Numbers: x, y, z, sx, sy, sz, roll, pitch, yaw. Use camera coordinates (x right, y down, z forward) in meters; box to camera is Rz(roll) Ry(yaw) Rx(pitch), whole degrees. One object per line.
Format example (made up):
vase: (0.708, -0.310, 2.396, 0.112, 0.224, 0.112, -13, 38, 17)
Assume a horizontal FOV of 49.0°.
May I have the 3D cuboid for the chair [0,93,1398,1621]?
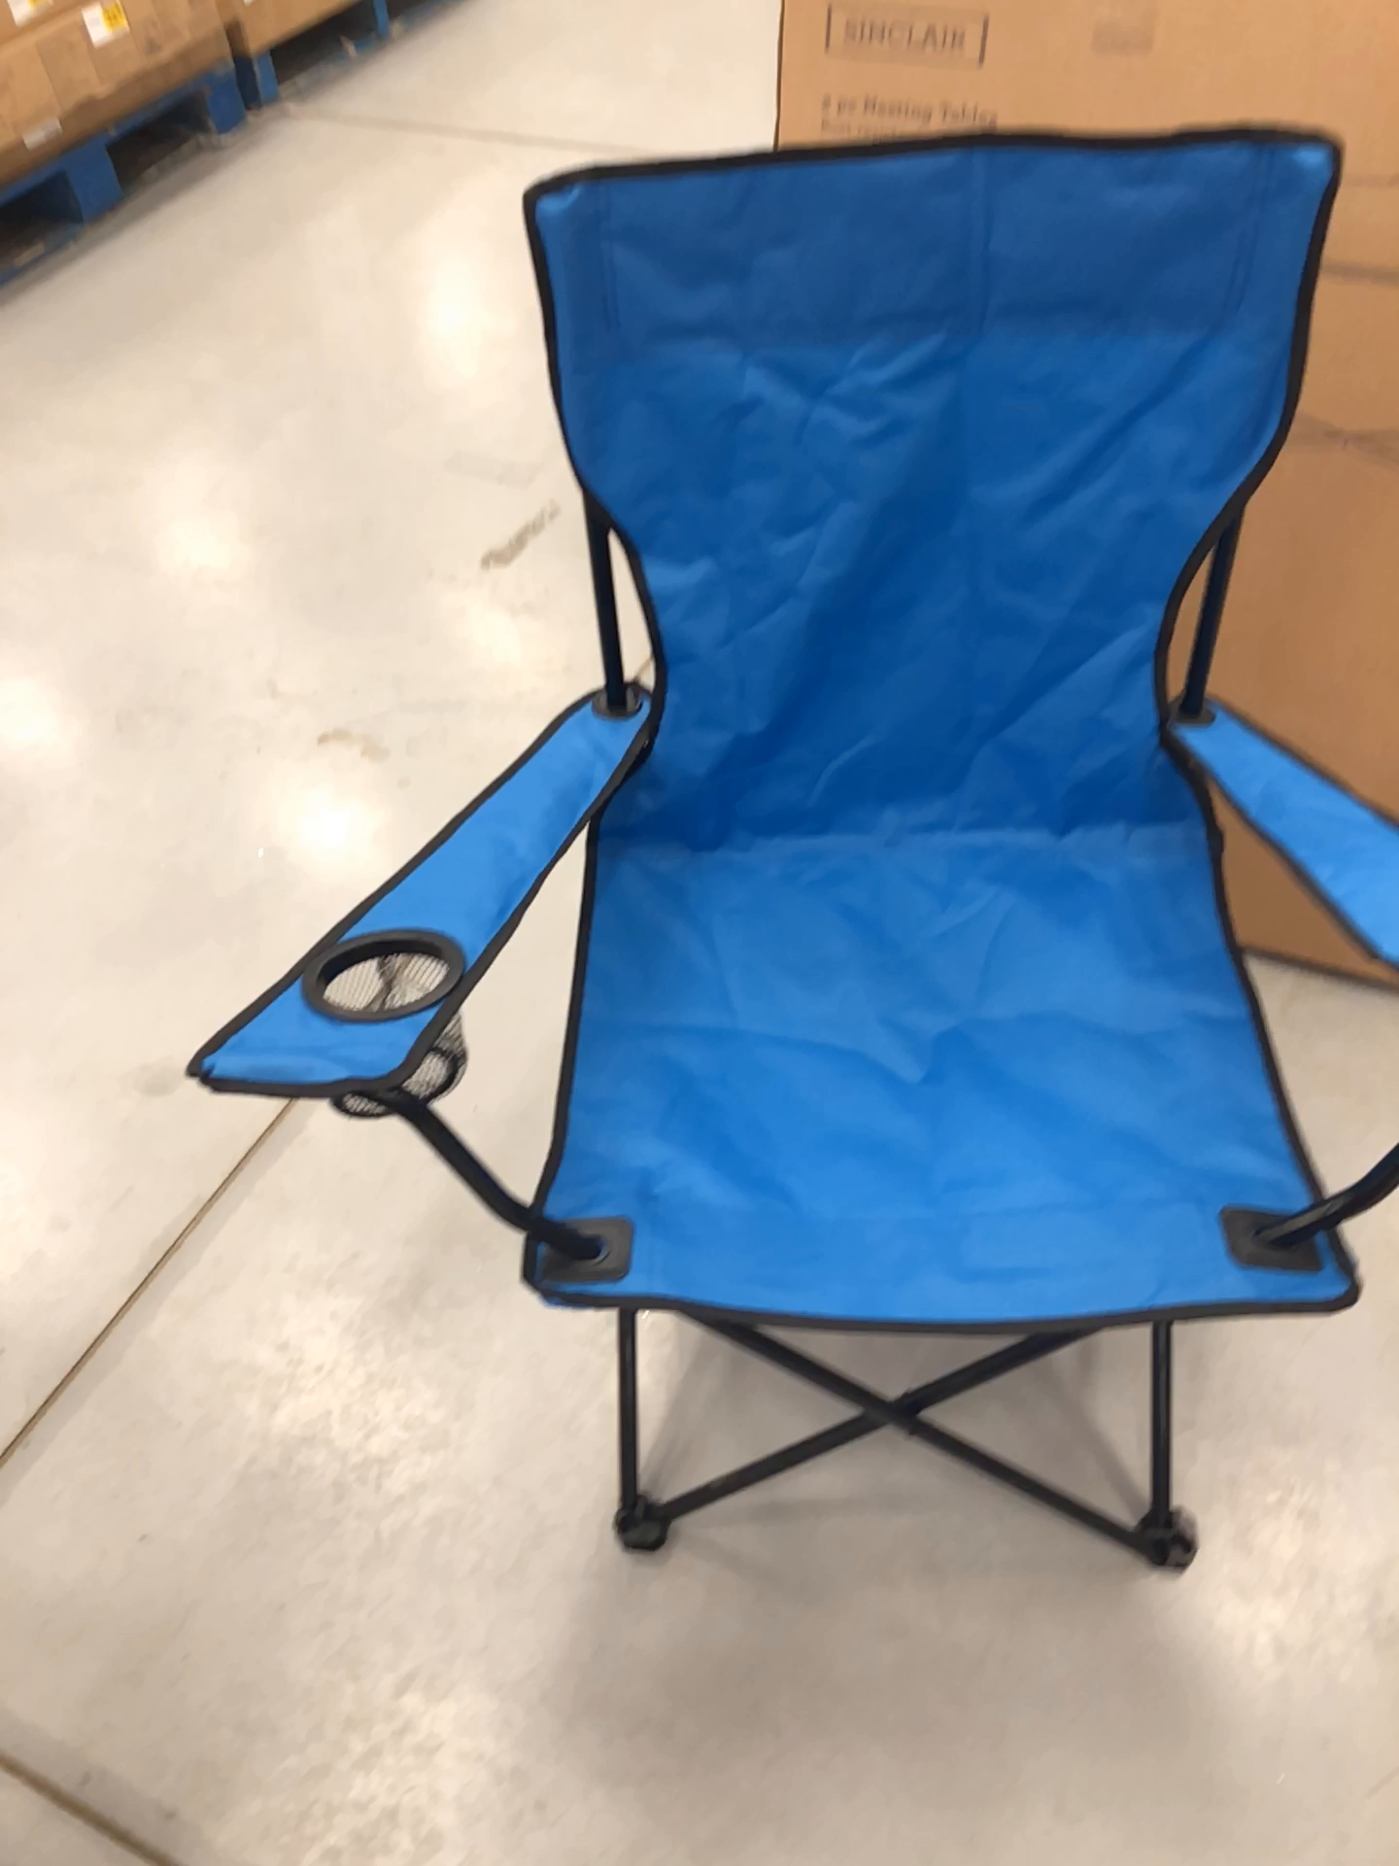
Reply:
chair: (0.138, -0.001, 1.071, 0.790, 0.837, 0.622, -1, 47, 4)
